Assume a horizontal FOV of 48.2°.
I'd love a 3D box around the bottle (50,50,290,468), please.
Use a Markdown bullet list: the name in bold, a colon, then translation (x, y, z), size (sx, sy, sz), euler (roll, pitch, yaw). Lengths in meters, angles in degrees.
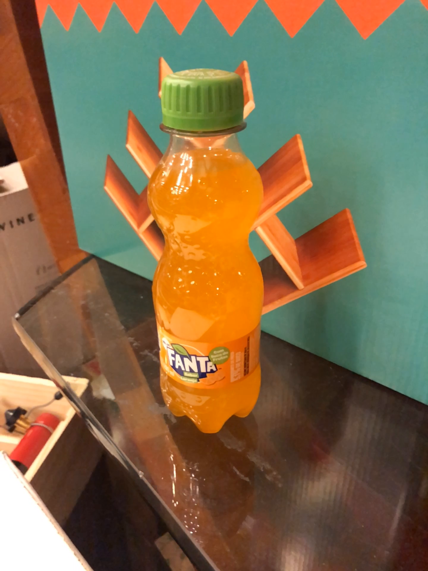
- **bottle**: translation (-0.010, -0.010, 0.205), size (0.060, 0.159, 0.060), euler (-2, 30, 1)
